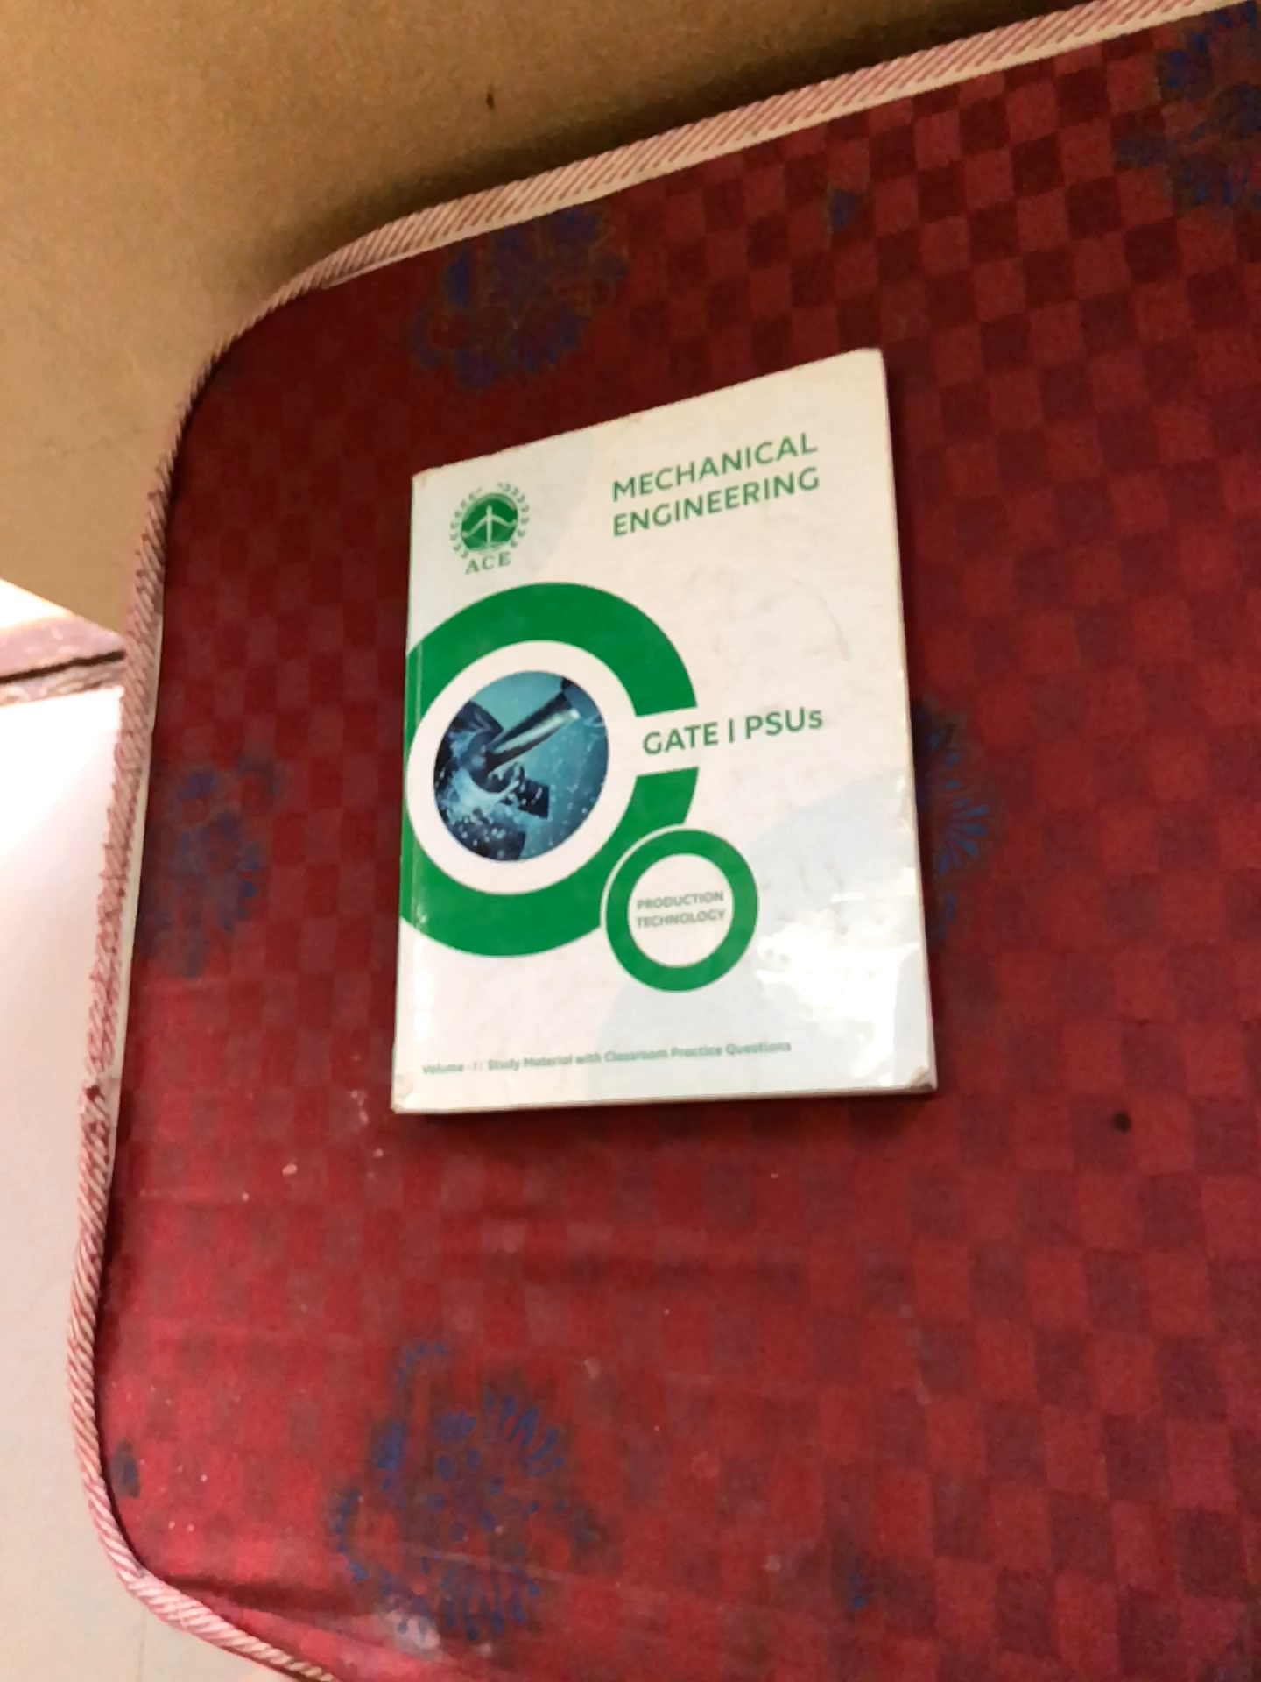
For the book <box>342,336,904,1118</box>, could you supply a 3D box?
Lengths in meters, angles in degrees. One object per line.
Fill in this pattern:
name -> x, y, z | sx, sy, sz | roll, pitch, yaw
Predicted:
book -> -0.009, -0.040, 0.547 | 0.210, 0.030, 0.280 | -7, 73, 24
